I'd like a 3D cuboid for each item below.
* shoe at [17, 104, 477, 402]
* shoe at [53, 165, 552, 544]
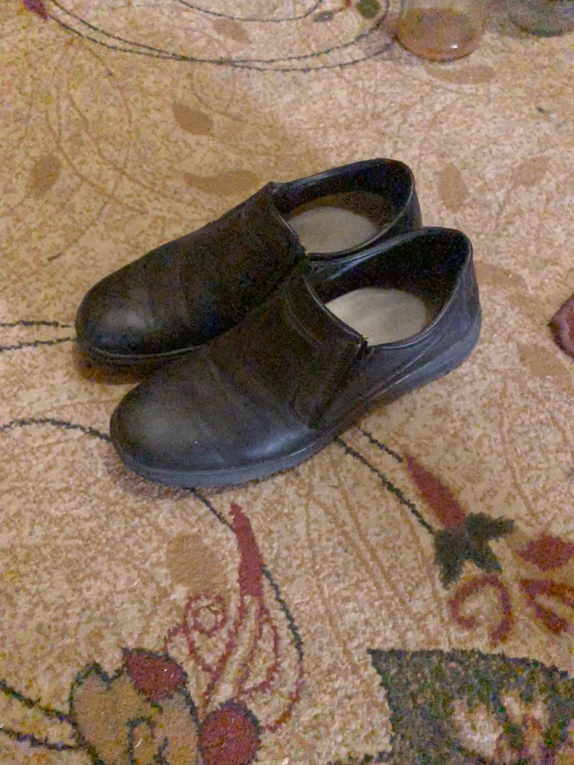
[{"bbox_3d":[-0.026,-0.096,0.439,0.290,0.099,0.100,-18,63,-8],"label":"shoe"},{"bbox_3d":[0.016,-0.022,0.400,0.290,0.099,0.100,-28,64,-13],"label":"shoe"}]
